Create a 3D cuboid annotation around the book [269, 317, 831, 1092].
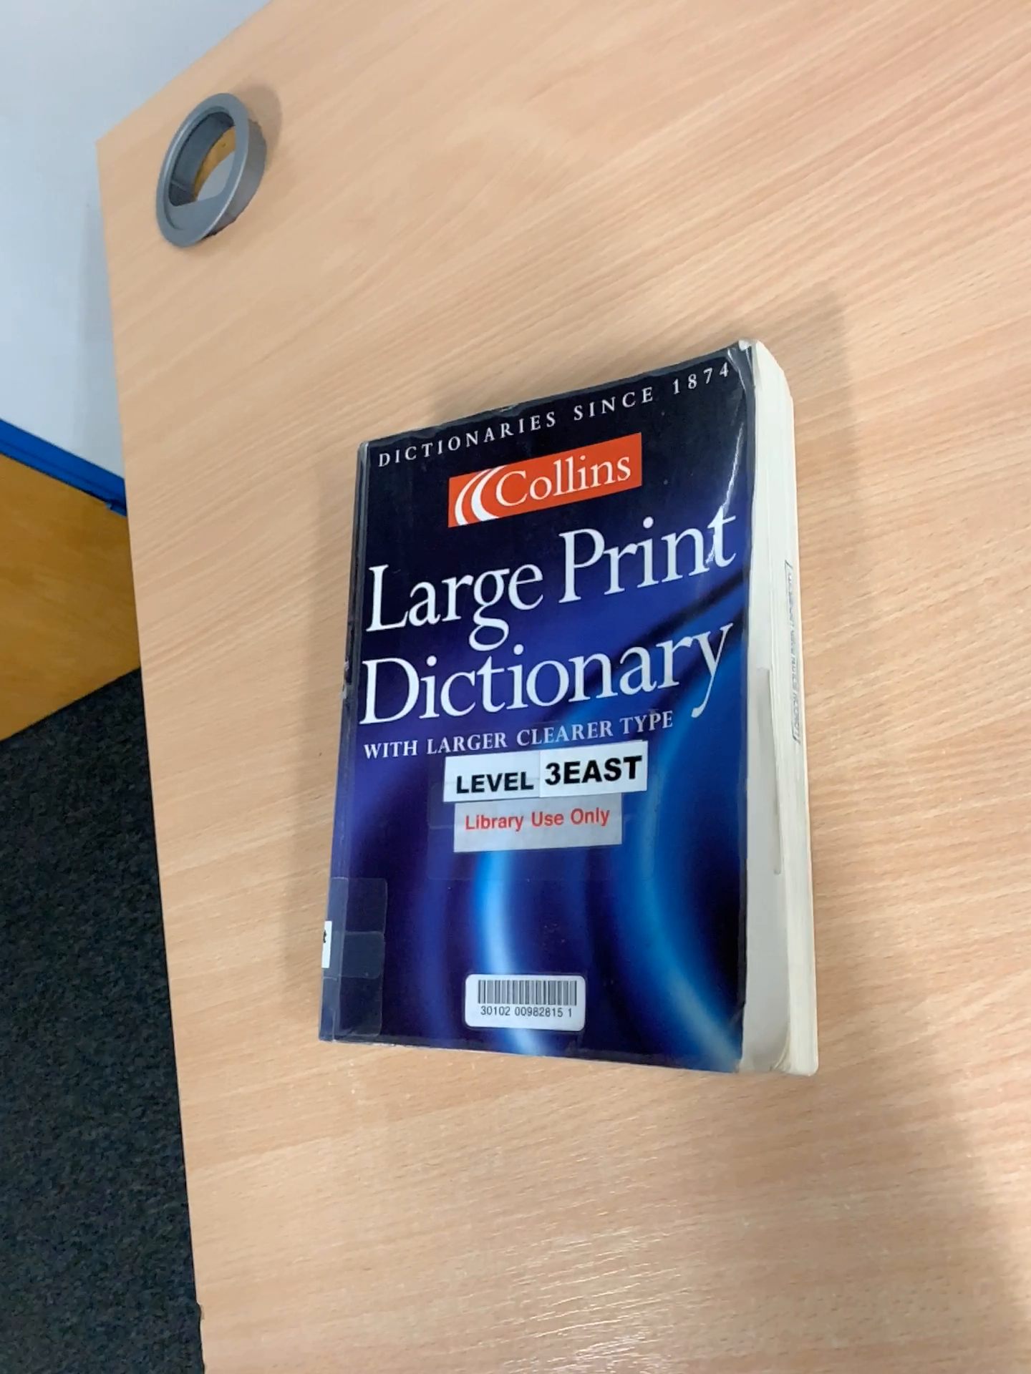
[{"bbox_3d":[0.008,0.009,0.387,0.188,0.050,0.243,-7,73,29],"label":"book"}]
